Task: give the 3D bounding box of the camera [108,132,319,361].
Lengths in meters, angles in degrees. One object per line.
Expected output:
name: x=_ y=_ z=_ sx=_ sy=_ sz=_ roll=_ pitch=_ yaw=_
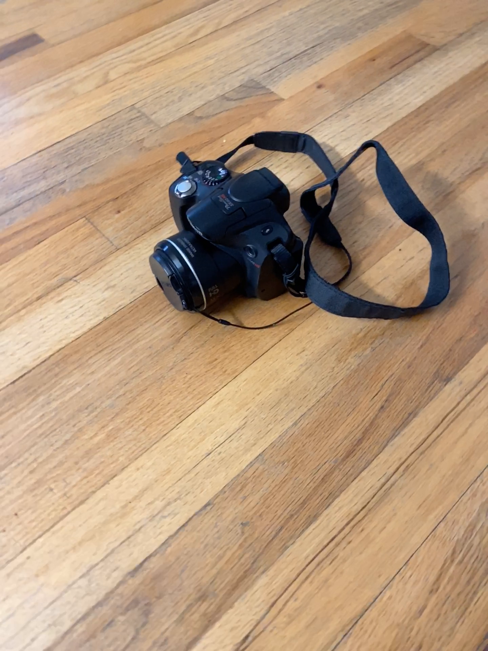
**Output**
camera: x=-0.023 y=-0.067 z=0.429 sx=0.120 sy=0.110 sz=0.110 roll=-36 pitch=64 yaw=-19
